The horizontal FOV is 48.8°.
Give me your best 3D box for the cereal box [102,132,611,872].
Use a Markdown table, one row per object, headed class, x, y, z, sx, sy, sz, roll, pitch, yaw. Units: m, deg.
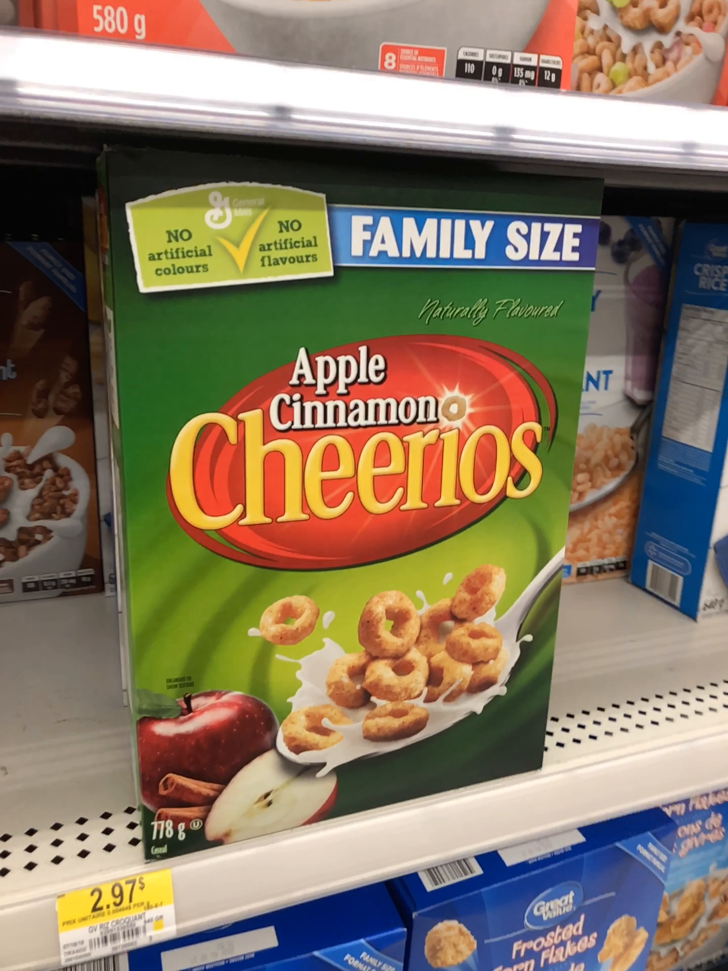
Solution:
| class | x | y | z | sx | sy | sz | roll | pitch | yaw |
| --- | --- | --- | --- | --- | --- | --- | --- | --- | --- |
| cereal box | -0.009 | 0.009 | 0.453 | 0.240 | 0.358 | 0.090 | -4 | 17 | -21 |
